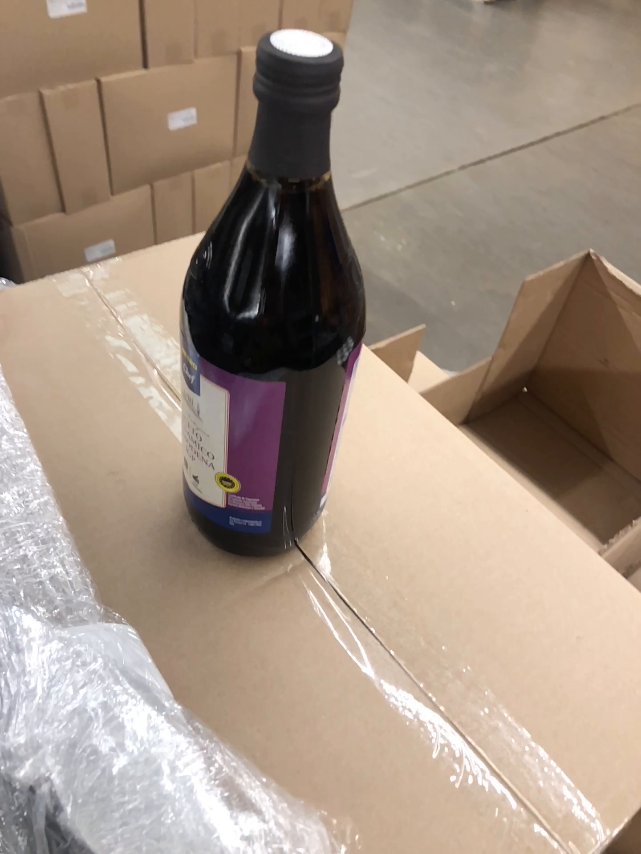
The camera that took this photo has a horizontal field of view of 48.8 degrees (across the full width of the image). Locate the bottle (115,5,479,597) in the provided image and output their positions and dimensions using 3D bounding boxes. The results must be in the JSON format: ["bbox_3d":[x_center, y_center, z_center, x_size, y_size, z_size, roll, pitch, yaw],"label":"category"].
[{"bbox_3d":[-0.023,-0.039,0.337,0.090,0.257,0.090,5,47,-5],"label":"bottle"}]
